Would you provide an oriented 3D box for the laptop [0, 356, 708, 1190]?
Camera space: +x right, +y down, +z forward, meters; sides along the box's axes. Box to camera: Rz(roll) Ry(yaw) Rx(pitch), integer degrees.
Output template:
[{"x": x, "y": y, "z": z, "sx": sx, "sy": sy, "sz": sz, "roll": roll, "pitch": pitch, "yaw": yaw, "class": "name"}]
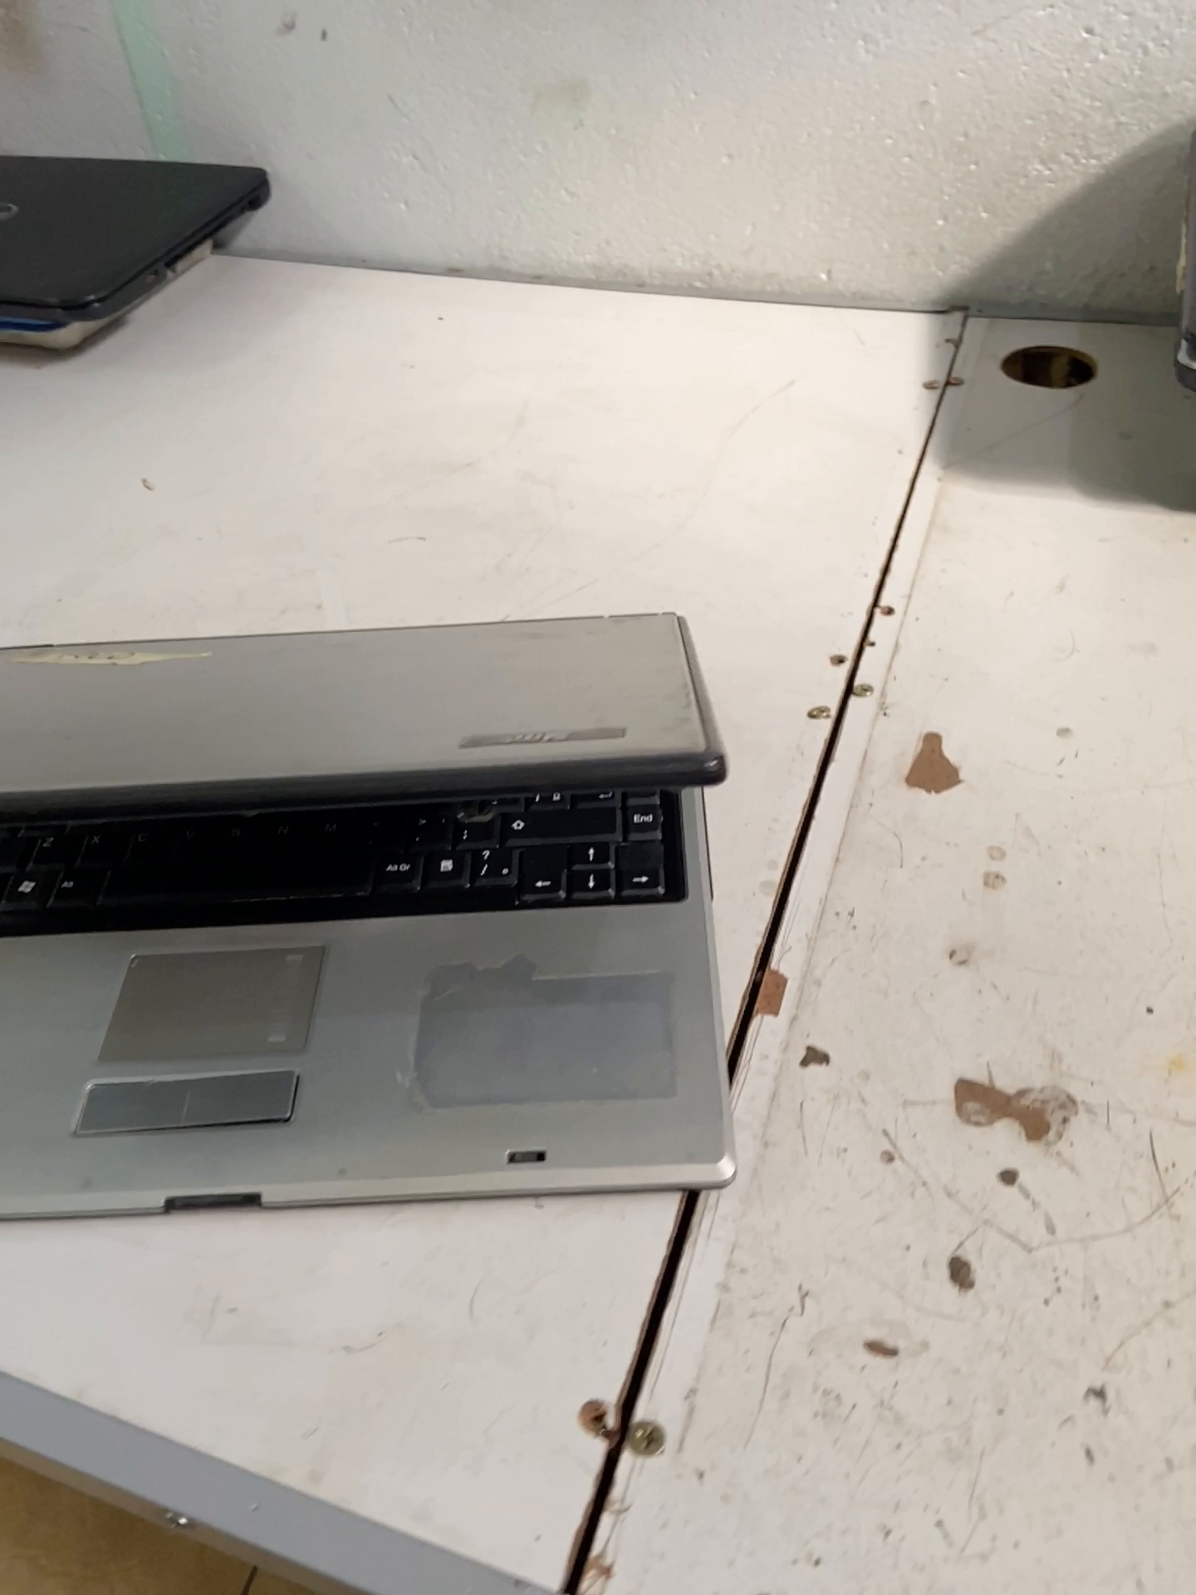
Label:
[{"x": -0.132, "y": -0.018, "z": 0.426, "sx": 0.316, "sy": 0.130, "sz": 0.255, "roll": -3, "pitch": 46, "yaw": 4, "class": "laptop"}]
